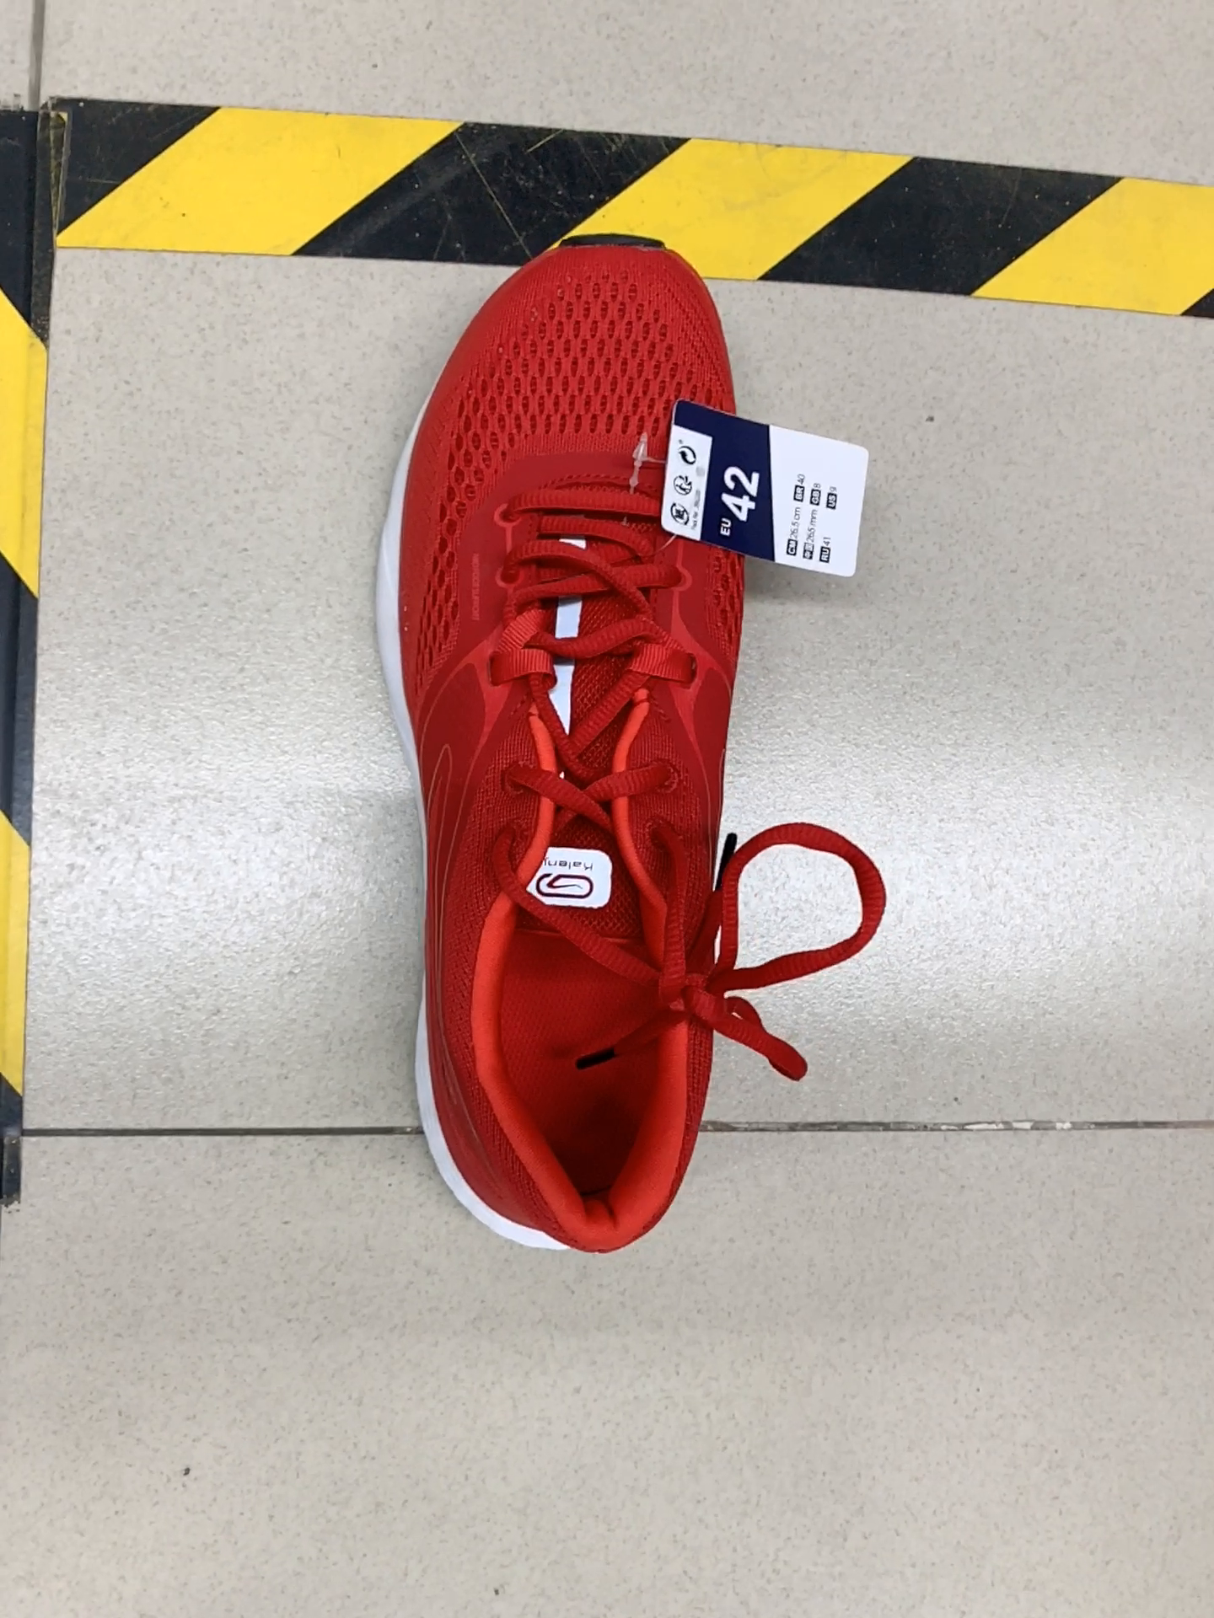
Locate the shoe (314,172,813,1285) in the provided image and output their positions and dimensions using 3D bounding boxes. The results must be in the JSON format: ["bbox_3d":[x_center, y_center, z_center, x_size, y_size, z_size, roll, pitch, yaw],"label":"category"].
[{"bbox_3d":[-0.014,-0.019,0.365,0.120,0.090,0.280,2,88,-7],"label":"shoe"}]
